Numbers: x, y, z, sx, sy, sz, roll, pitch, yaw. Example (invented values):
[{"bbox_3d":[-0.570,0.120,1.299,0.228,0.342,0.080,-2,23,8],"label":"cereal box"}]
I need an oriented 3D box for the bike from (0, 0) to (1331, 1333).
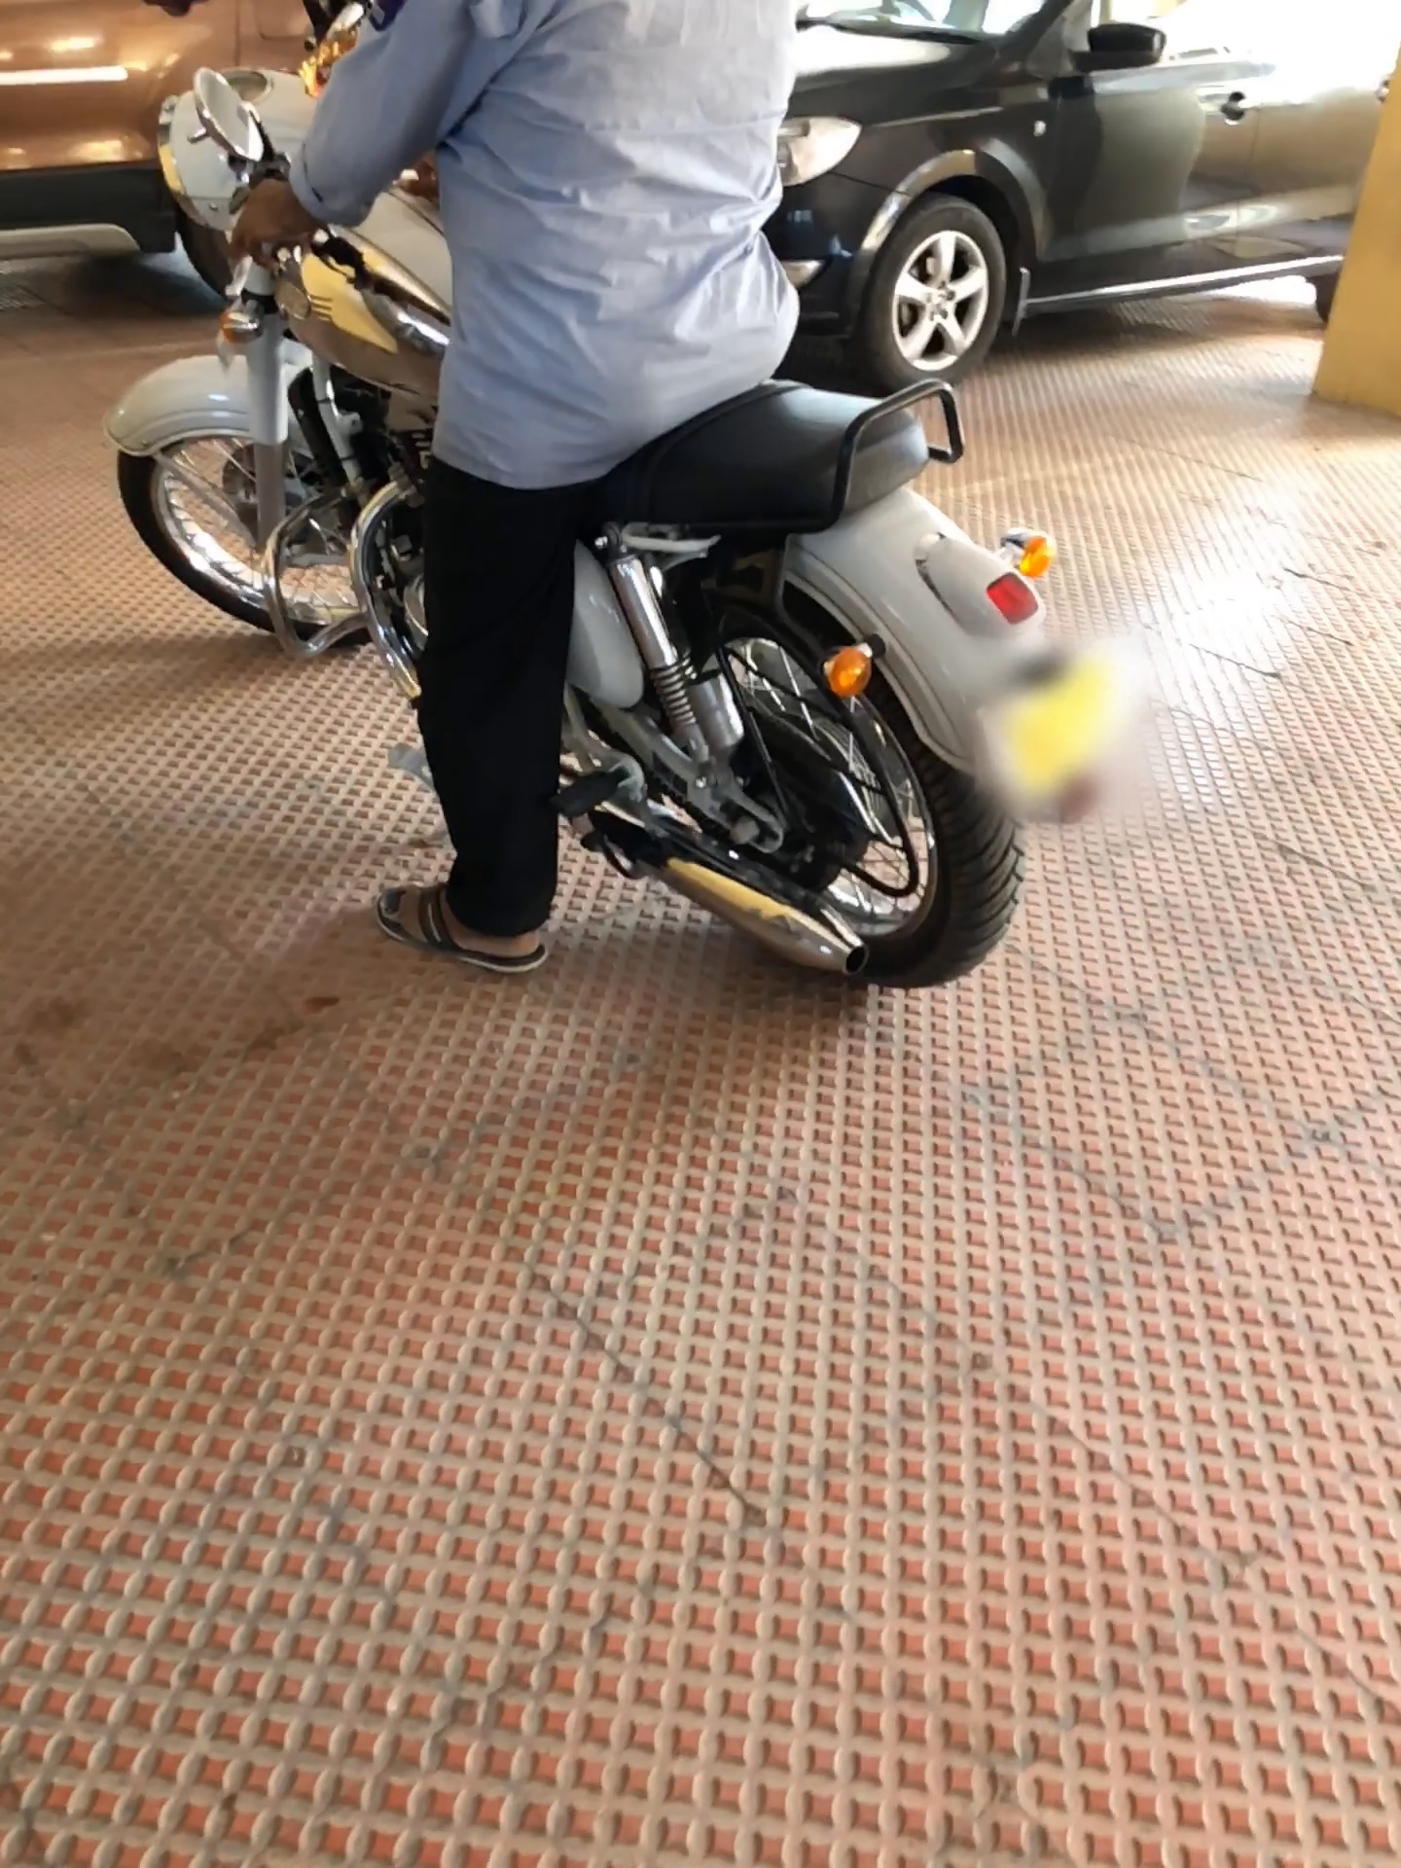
[{"bbox_3d":[-0.459,-0.627,2.021,1.899,1.233,0.848,28,40,33],"label":"bike"}]
